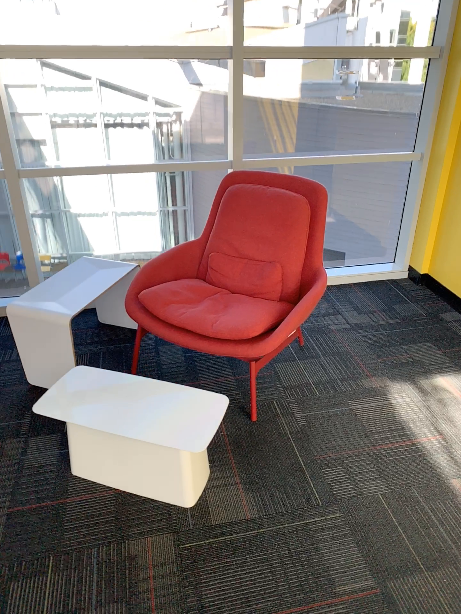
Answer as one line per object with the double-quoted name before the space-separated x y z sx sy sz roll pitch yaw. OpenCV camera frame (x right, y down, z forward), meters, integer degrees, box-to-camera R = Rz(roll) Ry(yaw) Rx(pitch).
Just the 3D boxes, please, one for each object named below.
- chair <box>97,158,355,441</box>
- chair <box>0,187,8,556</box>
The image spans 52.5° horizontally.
"chair" 0.035 -0.129 2.386 0.872 0.994 0.923 13 31 23
"chair" -1.692 0.172 1.951 0.822 1.054 0.873 12 31 21
